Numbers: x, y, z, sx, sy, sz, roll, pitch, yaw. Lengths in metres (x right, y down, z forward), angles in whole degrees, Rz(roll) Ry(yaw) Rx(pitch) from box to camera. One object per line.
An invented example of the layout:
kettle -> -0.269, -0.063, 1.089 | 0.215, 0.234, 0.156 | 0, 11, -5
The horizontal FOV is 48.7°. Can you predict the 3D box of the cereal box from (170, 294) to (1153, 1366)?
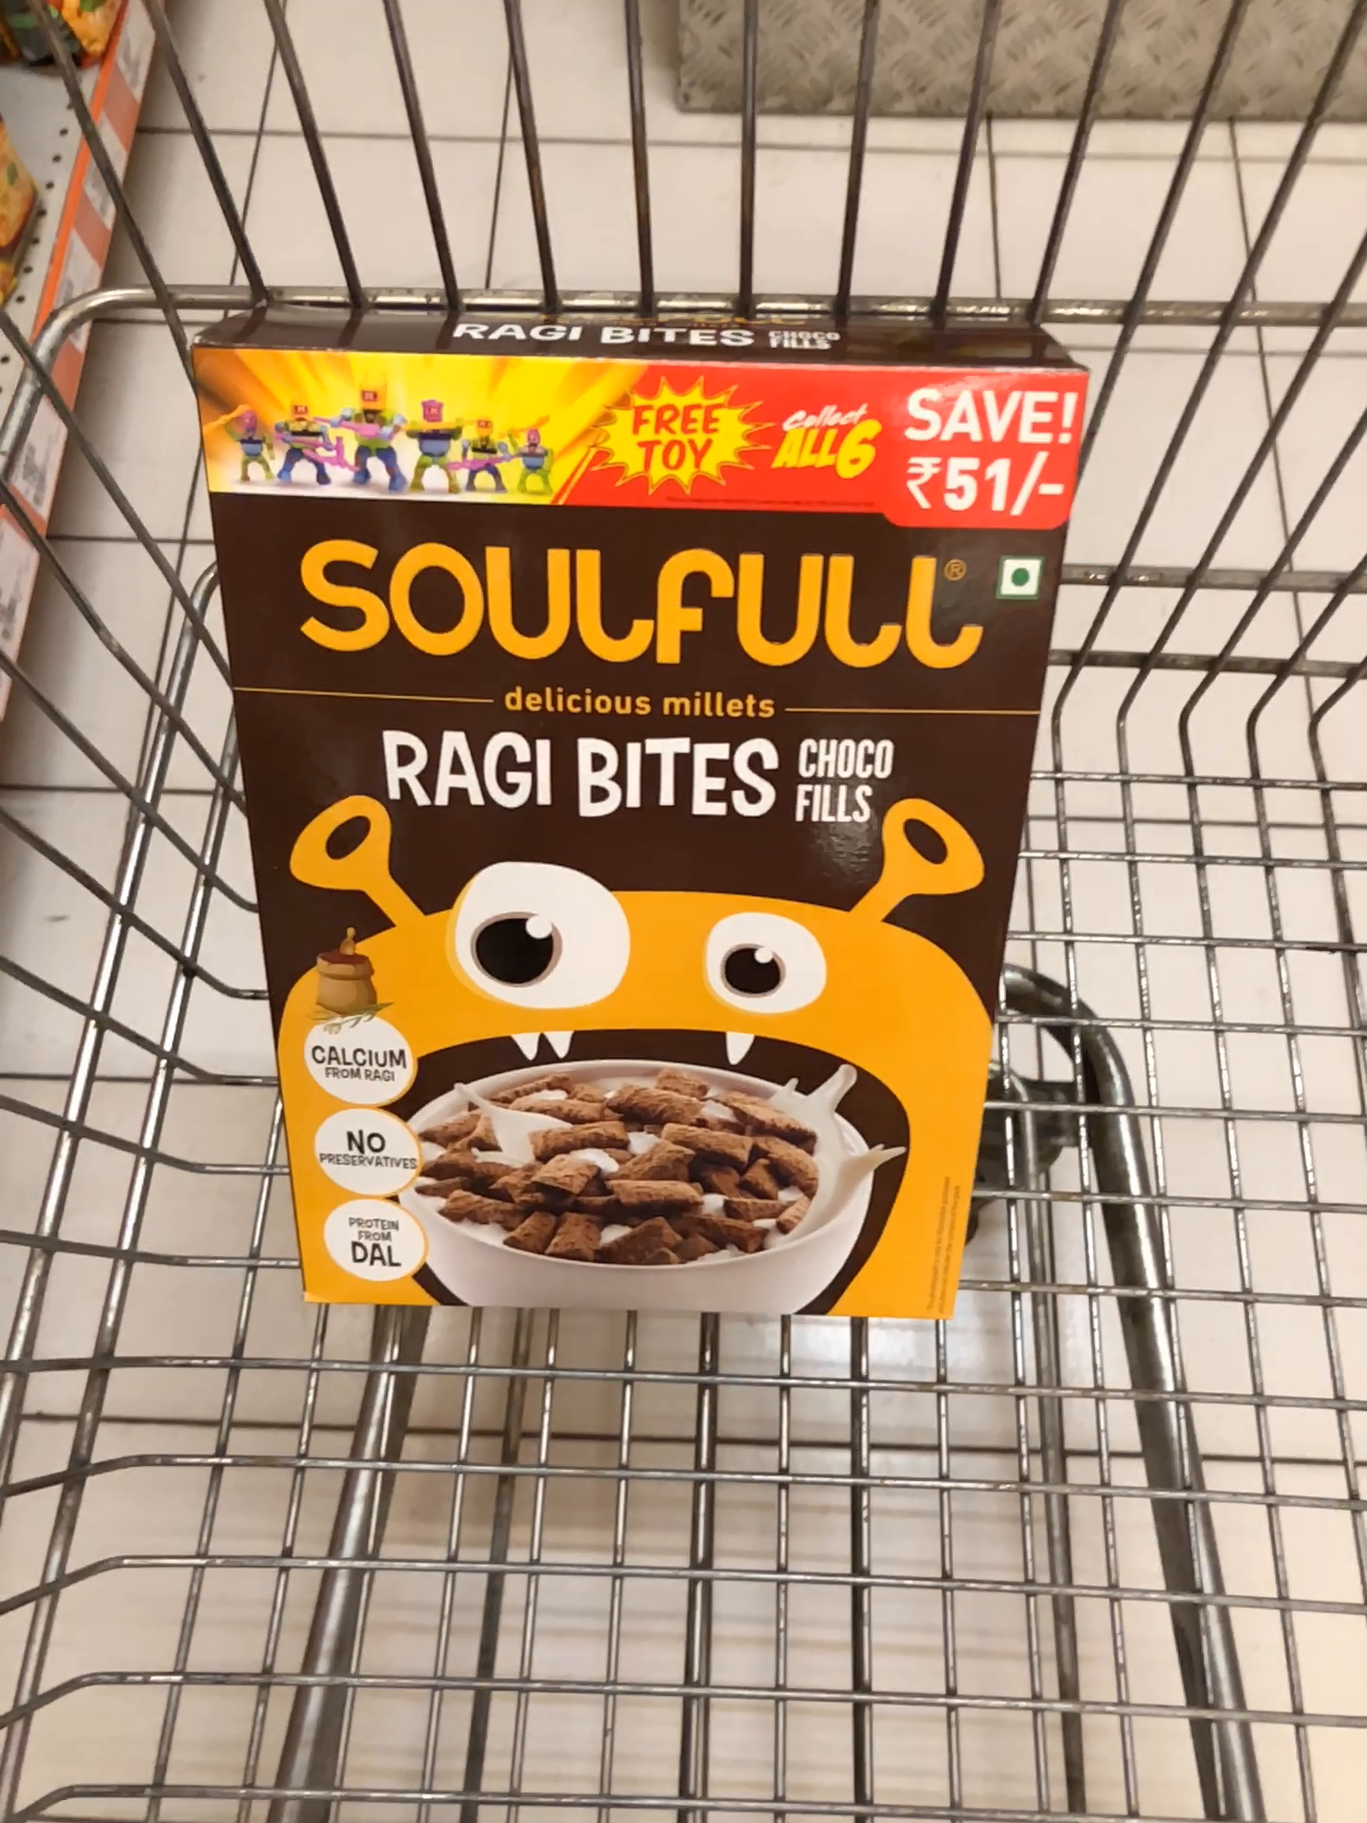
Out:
cereal box -> -0.007, -0.010, 0.384 | 0.190, 0.259, 0.070 | 2, 28, 1
